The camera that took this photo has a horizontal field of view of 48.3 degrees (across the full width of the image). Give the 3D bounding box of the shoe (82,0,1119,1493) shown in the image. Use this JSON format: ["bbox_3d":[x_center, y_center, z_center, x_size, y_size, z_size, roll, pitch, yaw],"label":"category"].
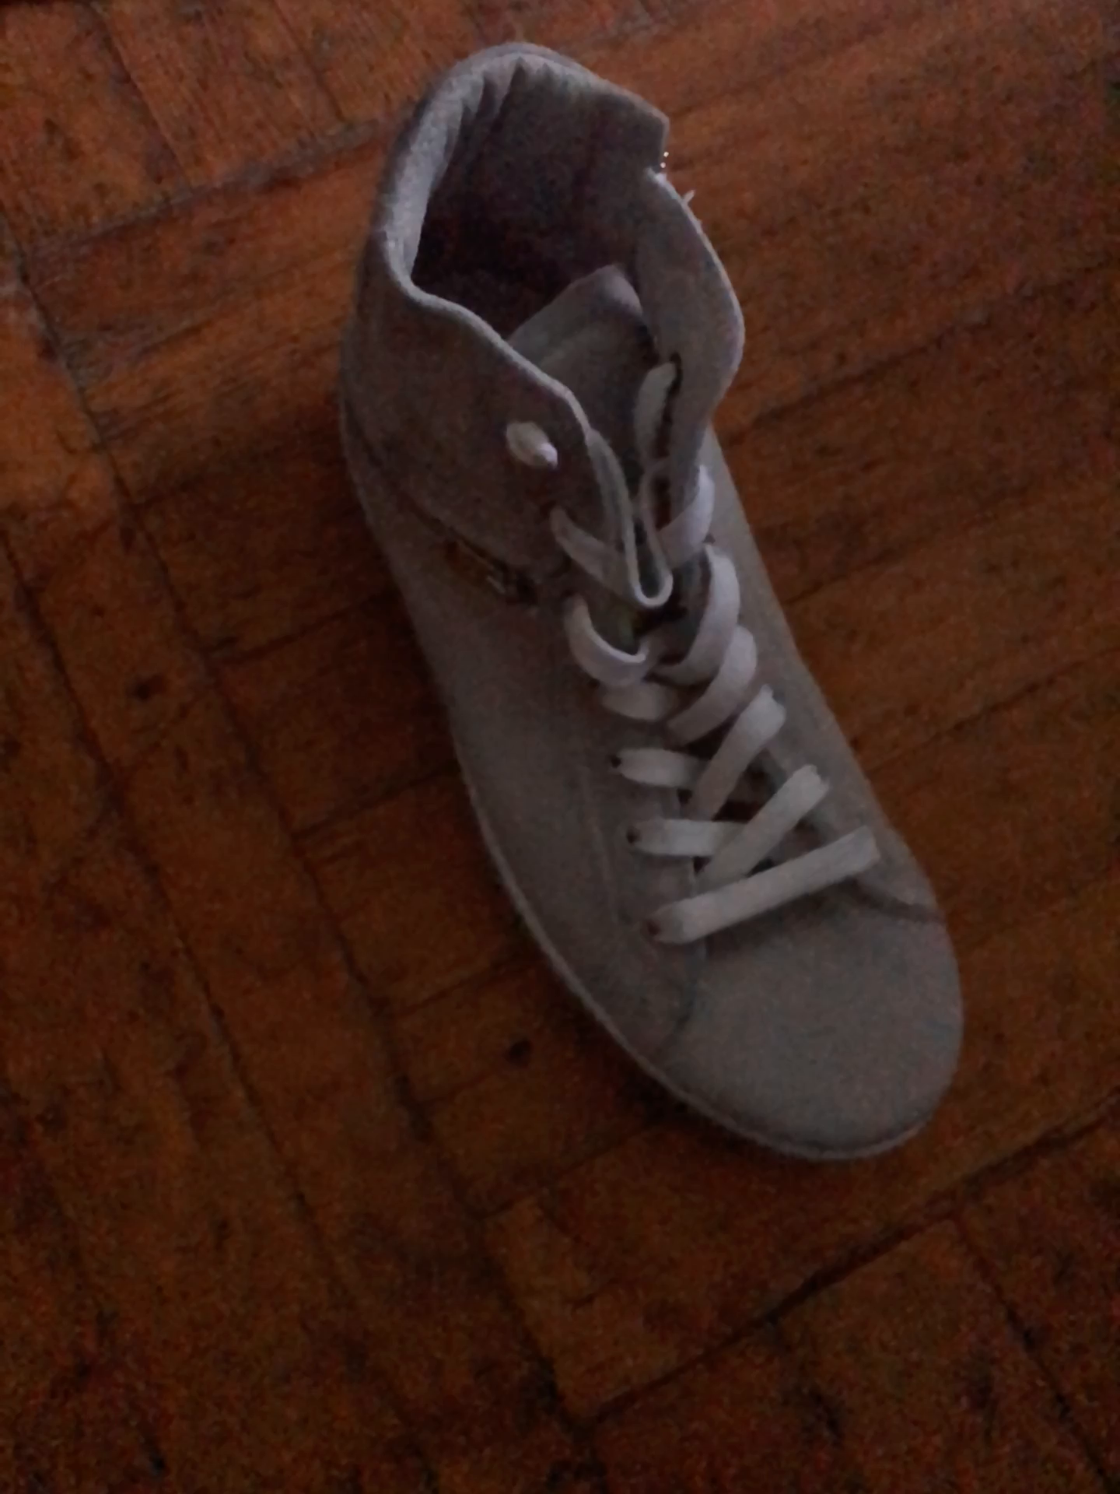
[{"bbox_3d":[0.025,-0.017,0.339,0.130,0.220,0.310,-23,77,-3],"label":"shoe"}]
